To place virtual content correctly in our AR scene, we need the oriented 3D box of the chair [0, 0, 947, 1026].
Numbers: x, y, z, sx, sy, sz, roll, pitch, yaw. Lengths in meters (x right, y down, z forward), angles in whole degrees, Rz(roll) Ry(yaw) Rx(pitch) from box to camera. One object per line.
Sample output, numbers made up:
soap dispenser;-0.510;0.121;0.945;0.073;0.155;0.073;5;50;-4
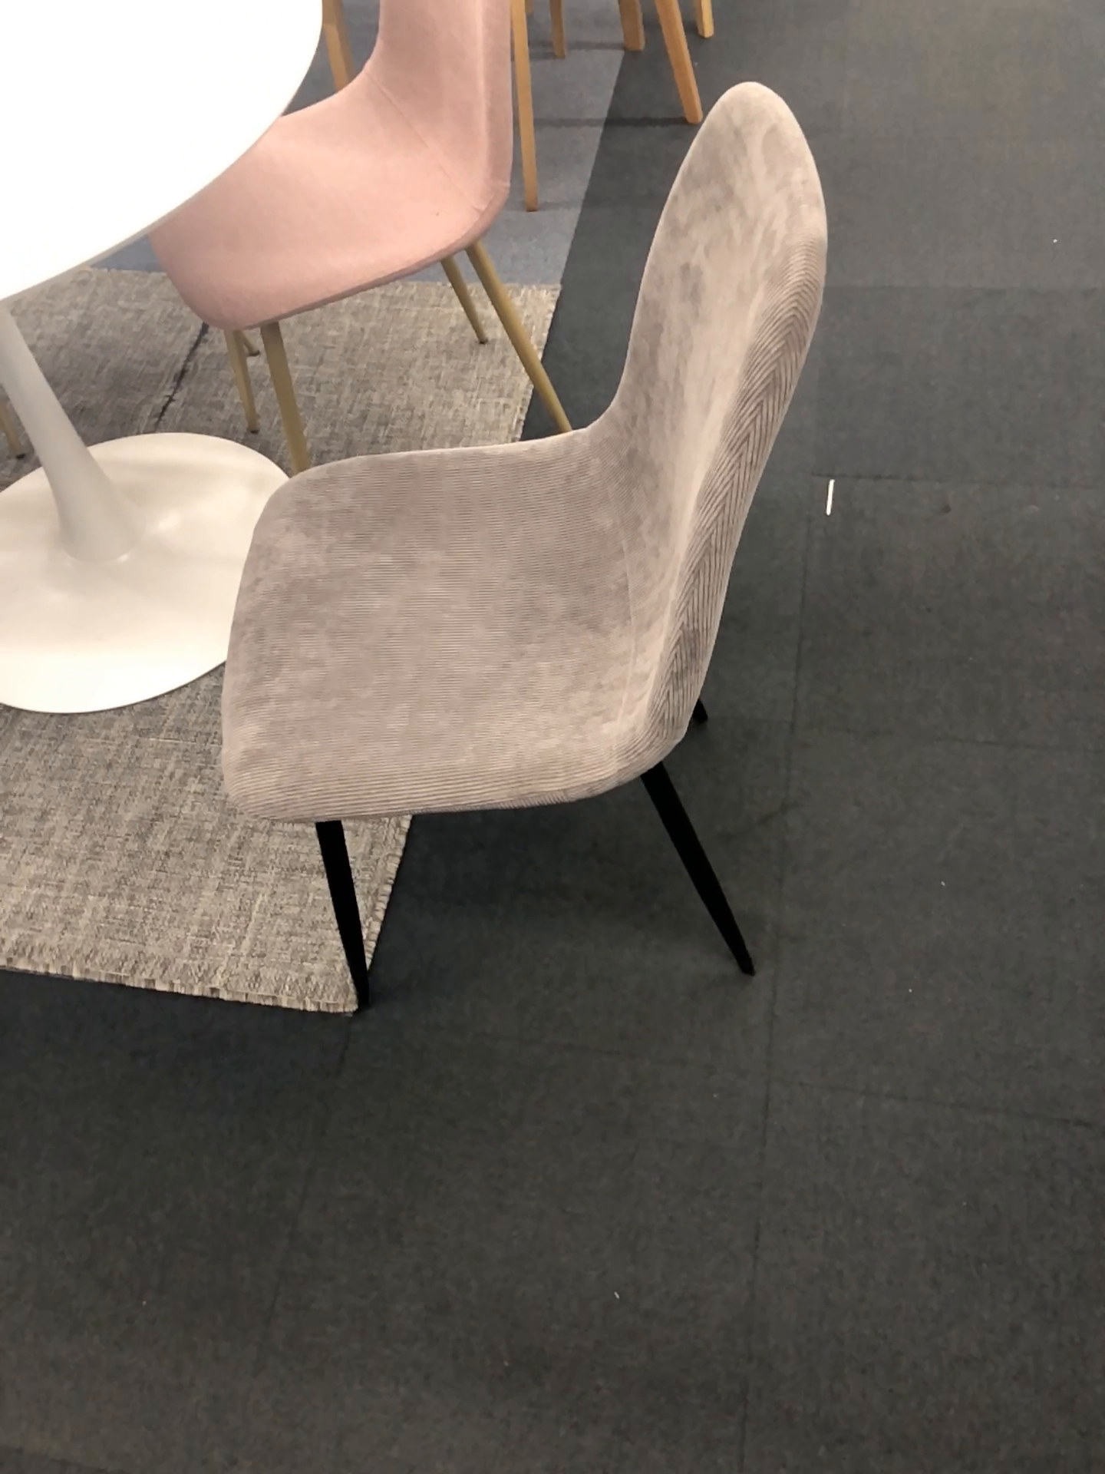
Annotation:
chair;-0.032;-0.156;1.190;0.580;0.808;0.582;-3;55;4
